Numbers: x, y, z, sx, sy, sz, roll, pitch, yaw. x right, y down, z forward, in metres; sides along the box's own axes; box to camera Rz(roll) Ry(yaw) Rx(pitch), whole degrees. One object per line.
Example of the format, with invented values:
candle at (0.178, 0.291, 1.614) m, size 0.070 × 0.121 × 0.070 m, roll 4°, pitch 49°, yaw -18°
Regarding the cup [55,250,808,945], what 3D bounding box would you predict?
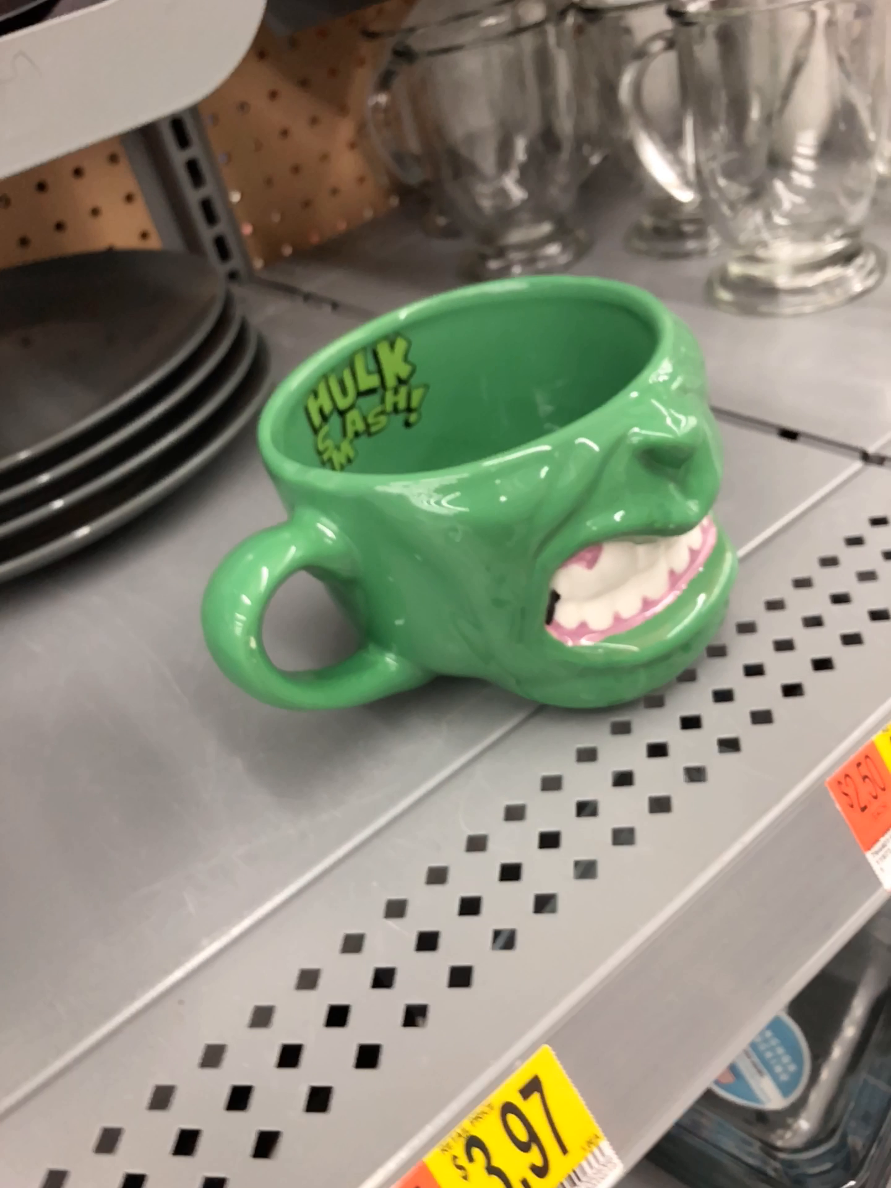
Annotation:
cup at (0.003, -0.015, 0.270) m, size 0.148 × 0.089 × 0.116 m, roll -36°, pitch 40°, yaw -25°
